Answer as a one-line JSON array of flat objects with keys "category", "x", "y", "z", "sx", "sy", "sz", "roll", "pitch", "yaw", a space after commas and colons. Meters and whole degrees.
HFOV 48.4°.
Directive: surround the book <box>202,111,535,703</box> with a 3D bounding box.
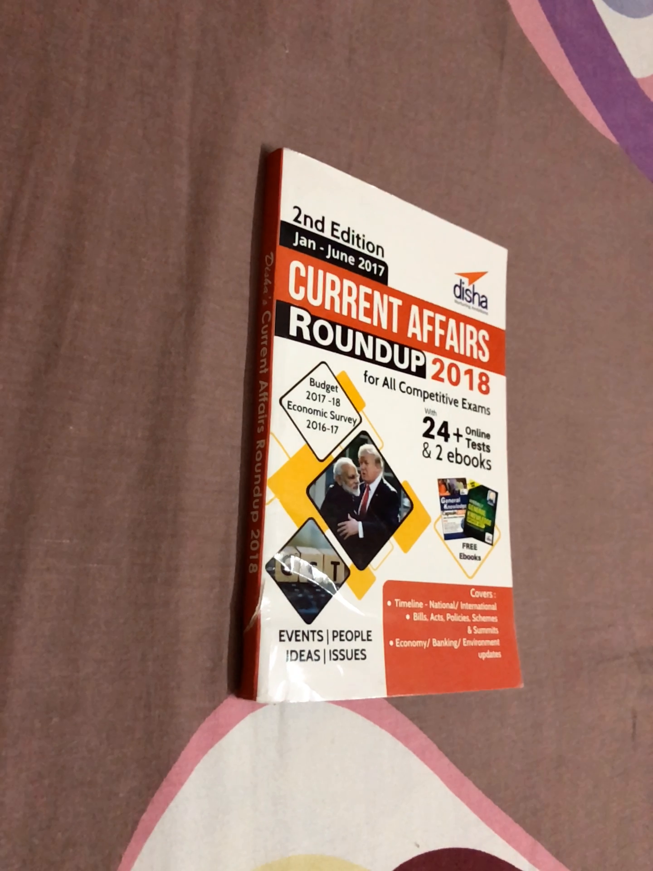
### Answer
[{"category": "book", "x": 0.026, "y": -0.006, "z": 0.316, "sx": 0.141, "sy": 0.040, "sz": 0.220, "roll": 11, "pitch": 74, "yaw": -35}]
